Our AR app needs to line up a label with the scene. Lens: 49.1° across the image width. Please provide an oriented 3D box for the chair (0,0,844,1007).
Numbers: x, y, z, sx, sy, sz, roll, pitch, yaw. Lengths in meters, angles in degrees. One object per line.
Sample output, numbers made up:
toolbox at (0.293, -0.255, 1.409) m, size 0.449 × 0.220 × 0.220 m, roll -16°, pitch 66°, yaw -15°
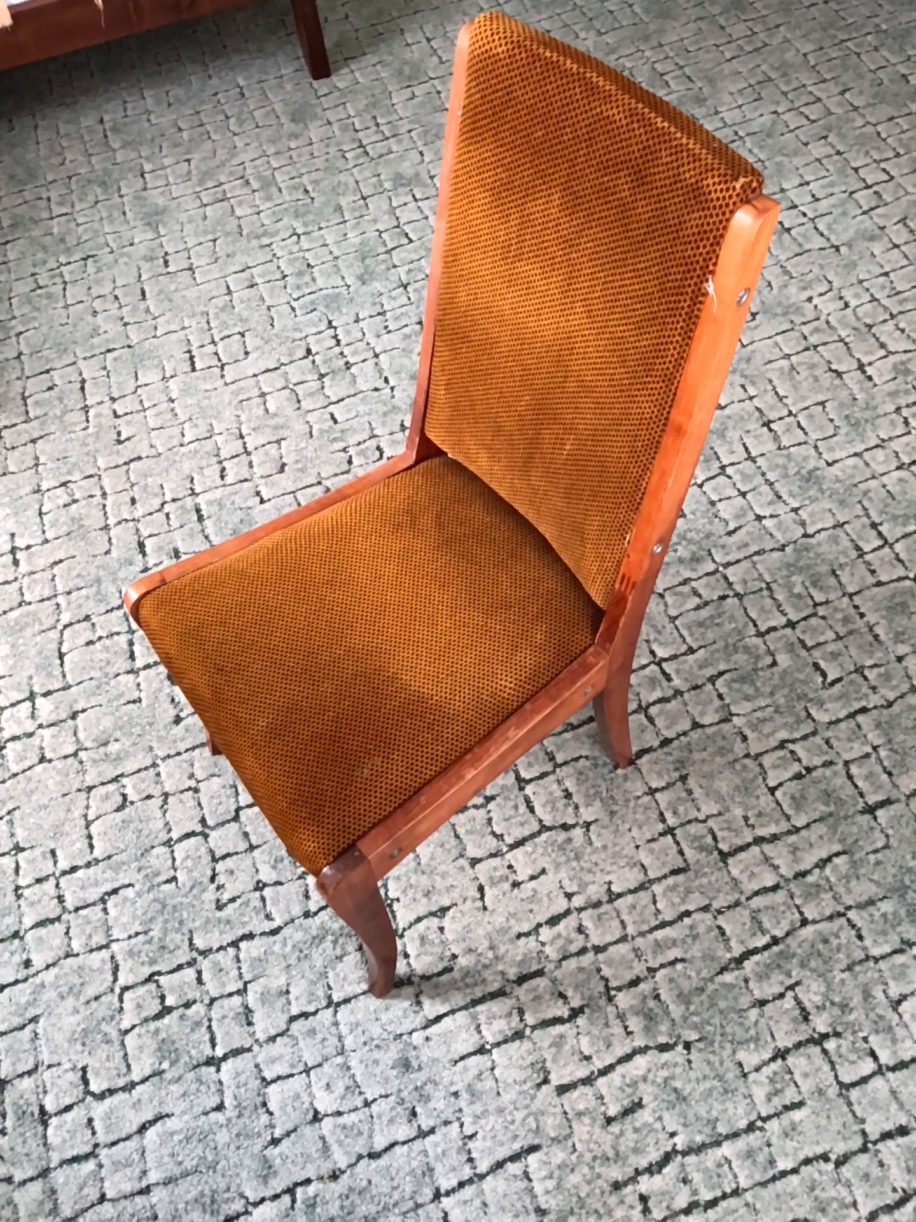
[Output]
chair at (-0.070, -0.042, 1.062) m, size 0.529 × 0.925 × 0.472 m, roll -34°, pitch 61°, yaw -15°
